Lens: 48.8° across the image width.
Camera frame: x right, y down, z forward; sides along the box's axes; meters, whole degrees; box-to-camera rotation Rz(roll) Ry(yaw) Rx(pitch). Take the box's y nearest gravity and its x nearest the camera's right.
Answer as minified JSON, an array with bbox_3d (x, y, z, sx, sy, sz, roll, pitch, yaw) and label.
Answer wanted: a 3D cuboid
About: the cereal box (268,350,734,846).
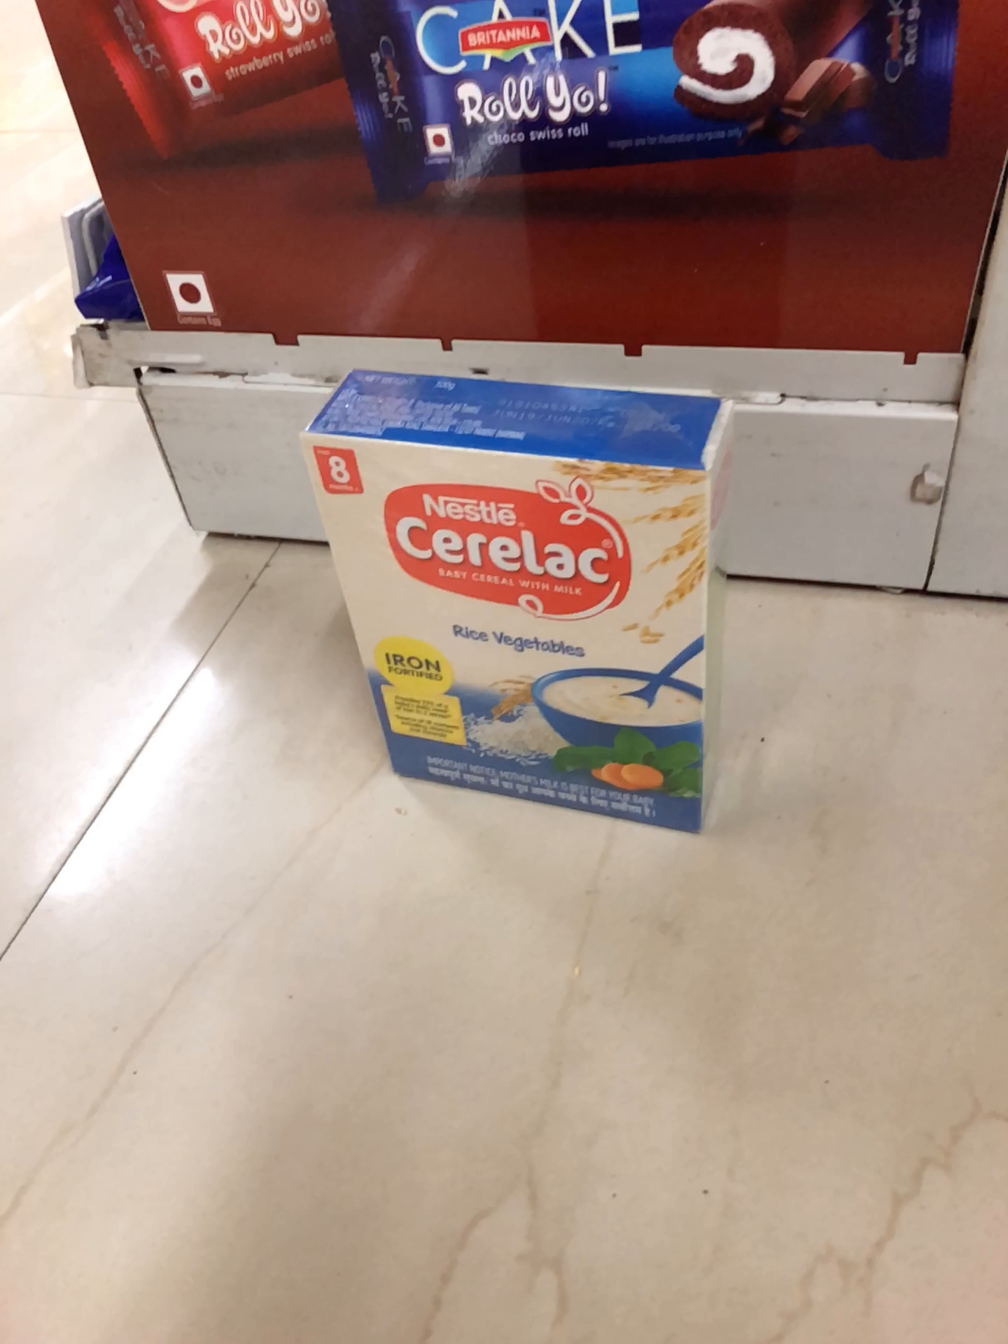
[{"bbox_3d":[0.009,-0.026,0.473,0.160,0.199,0.060,9,46,17],"label":"cereal box"}]
